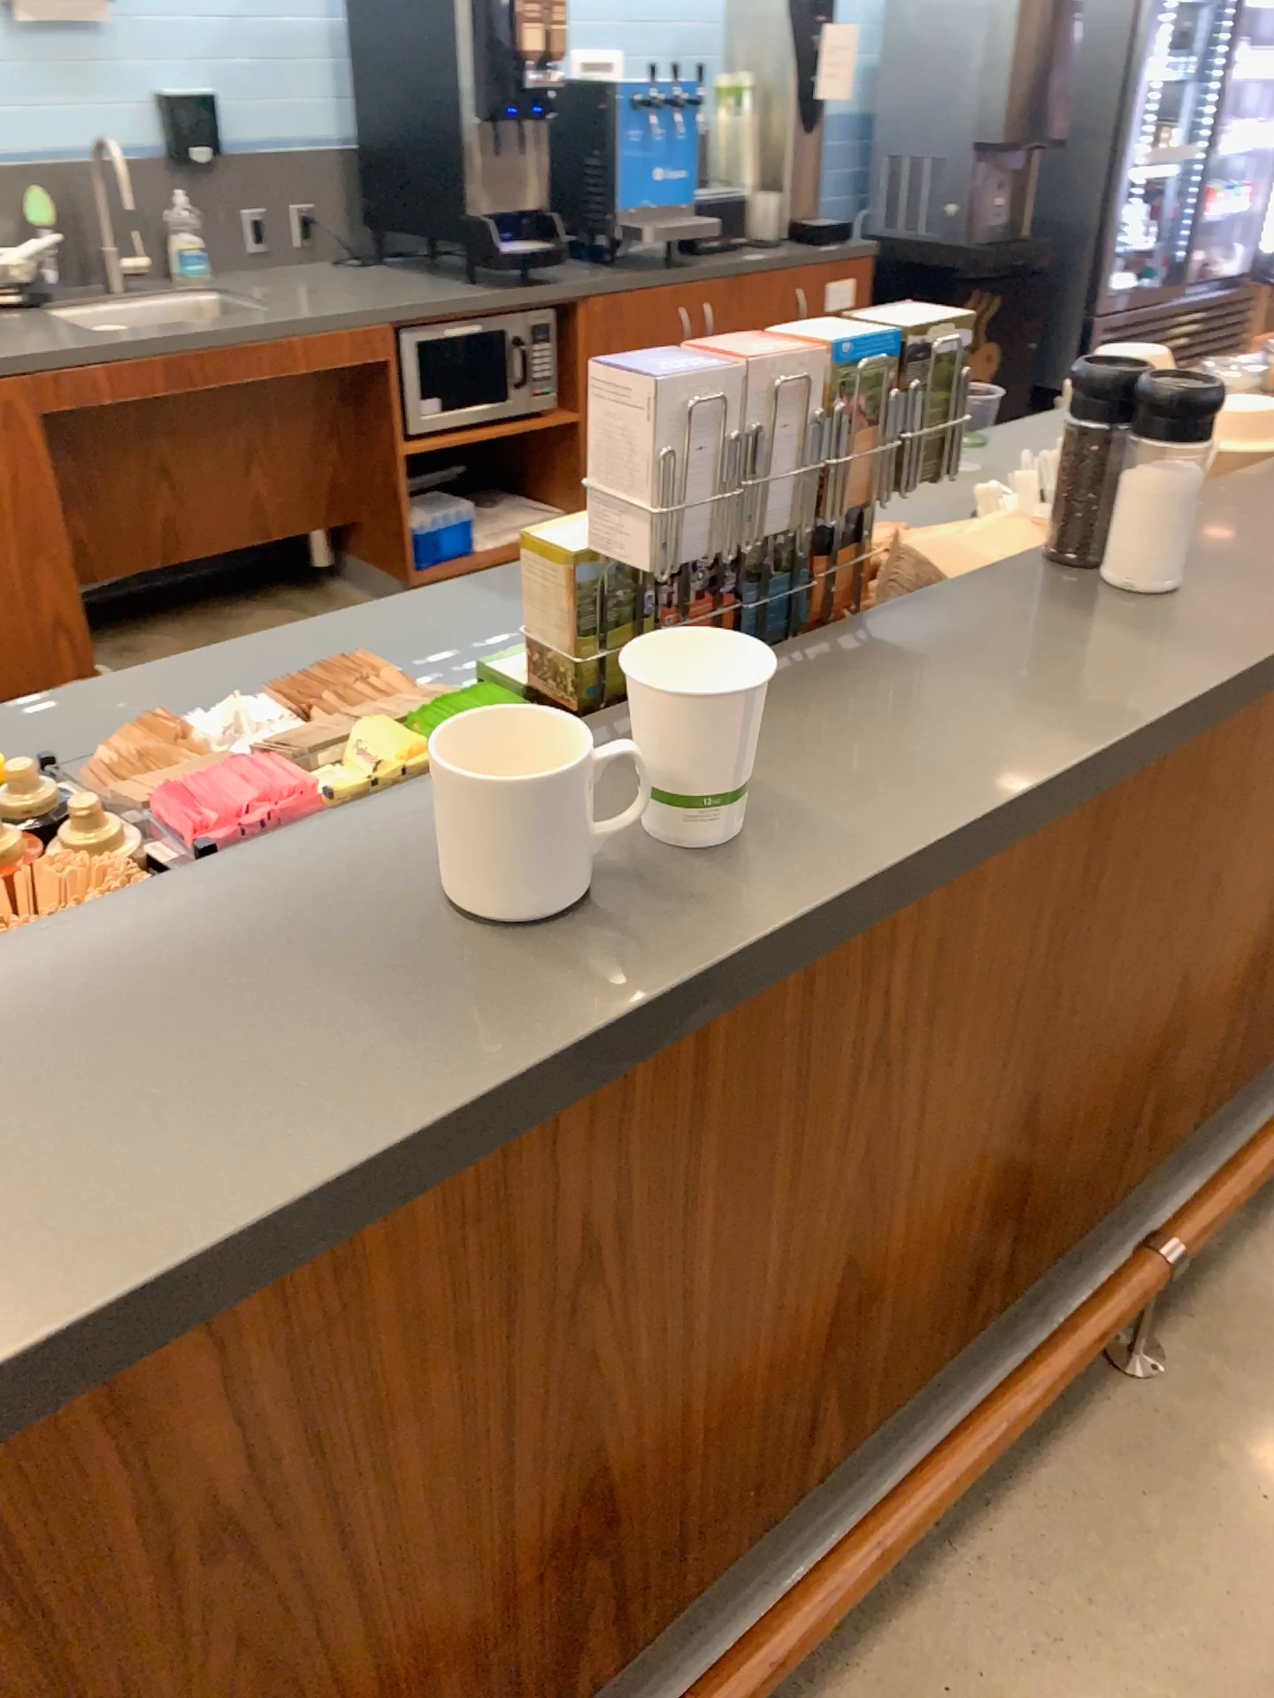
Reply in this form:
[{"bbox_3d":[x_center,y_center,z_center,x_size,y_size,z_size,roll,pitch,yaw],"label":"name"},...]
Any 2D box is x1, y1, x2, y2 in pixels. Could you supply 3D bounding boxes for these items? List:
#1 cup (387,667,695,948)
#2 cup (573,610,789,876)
[{"bbox_3d":[-0.049,-0.025,0.667,0.130,0.089,0.091,-12,34,-18],"label":"cup"},{"bbox_3d":[0.024,-0.063,0.754,0.090,0.109,0.080,-26,41,-36],"label":"cup"}]
